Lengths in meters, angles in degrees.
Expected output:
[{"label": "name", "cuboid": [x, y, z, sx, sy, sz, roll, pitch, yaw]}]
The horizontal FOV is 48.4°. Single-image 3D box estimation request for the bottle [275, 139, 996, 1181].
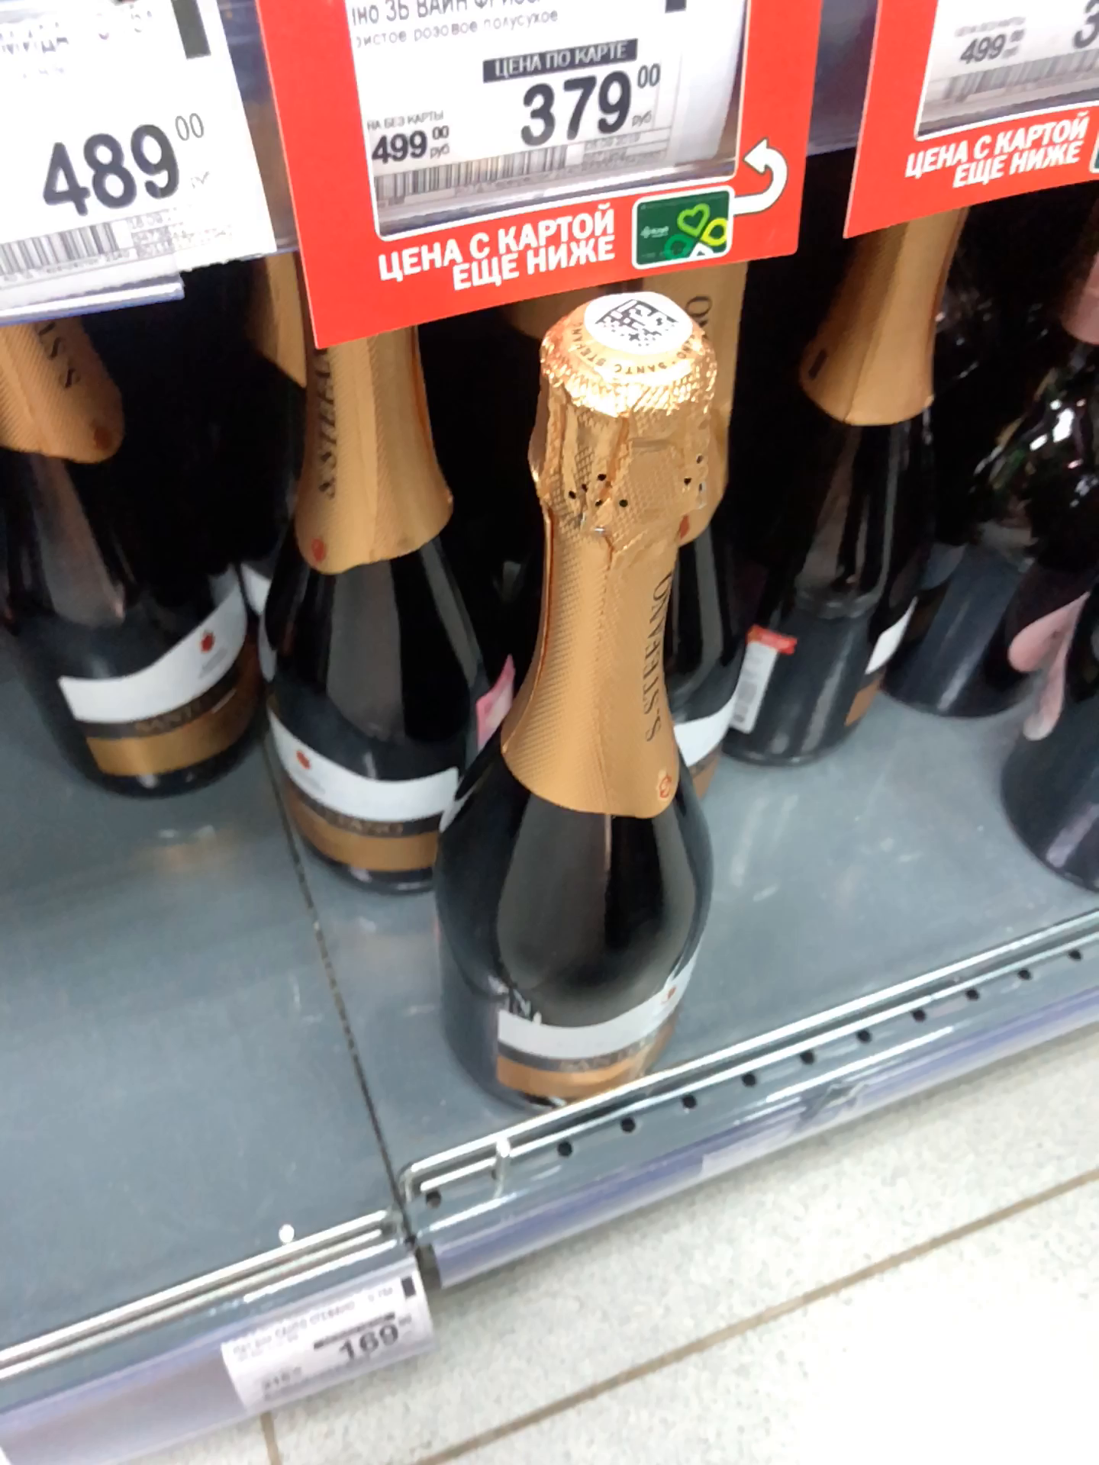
[{"label": "bottle", "cuboid": [0.011, 0.013, 0.346, 0.090, 0.298, 0.100, 40, 61, 23]}]
